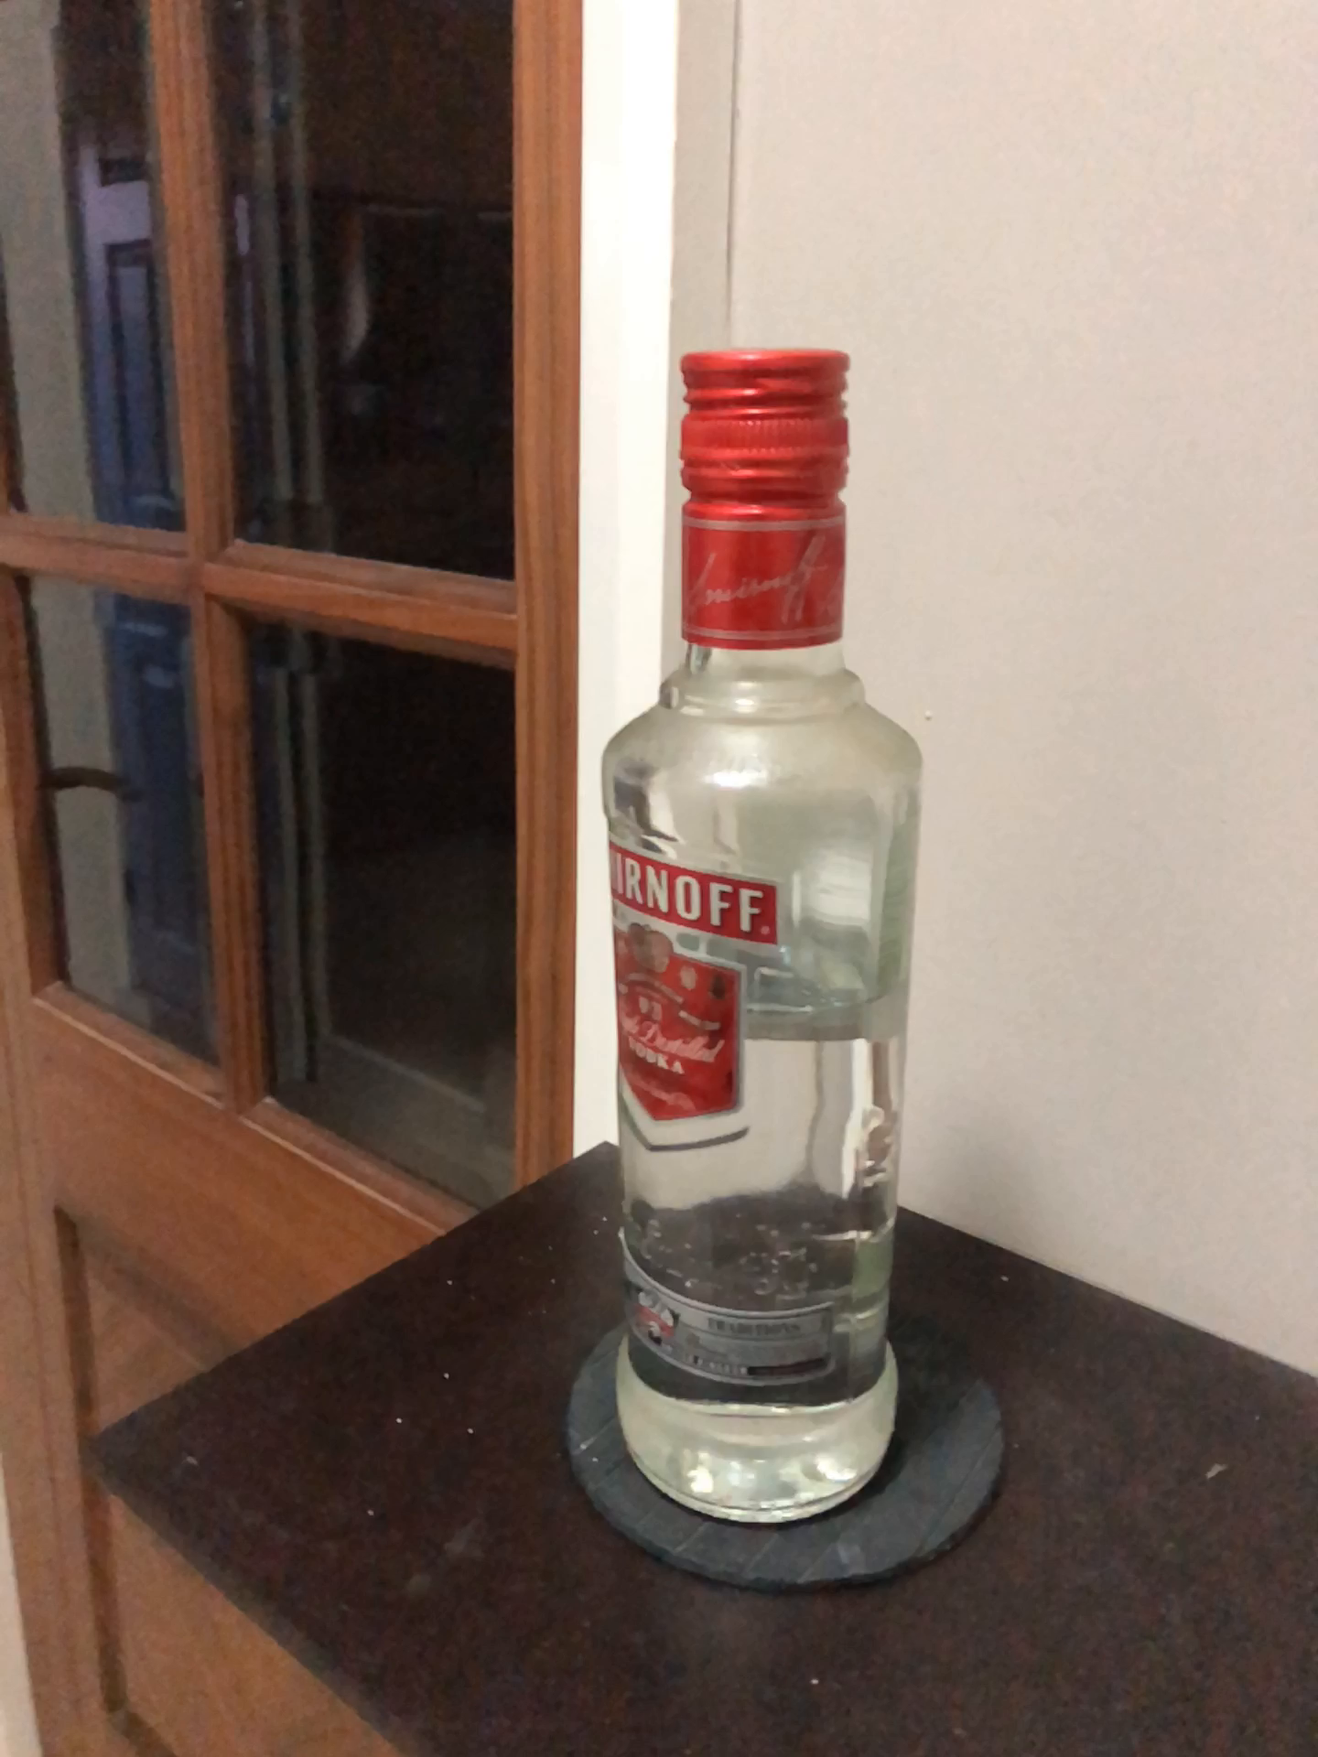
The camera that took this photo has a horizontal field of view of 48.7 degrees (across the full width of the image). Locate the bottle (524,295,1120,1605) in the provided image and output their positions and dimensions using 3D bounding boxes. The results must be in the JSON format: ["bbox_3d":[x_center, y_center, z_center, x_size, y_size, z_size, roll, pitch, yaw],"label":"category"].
[{"bbox_3d":[0.025,0.010,0.276,0.070,0.219,0.070,1,18,0],"label":"bottle"}]
